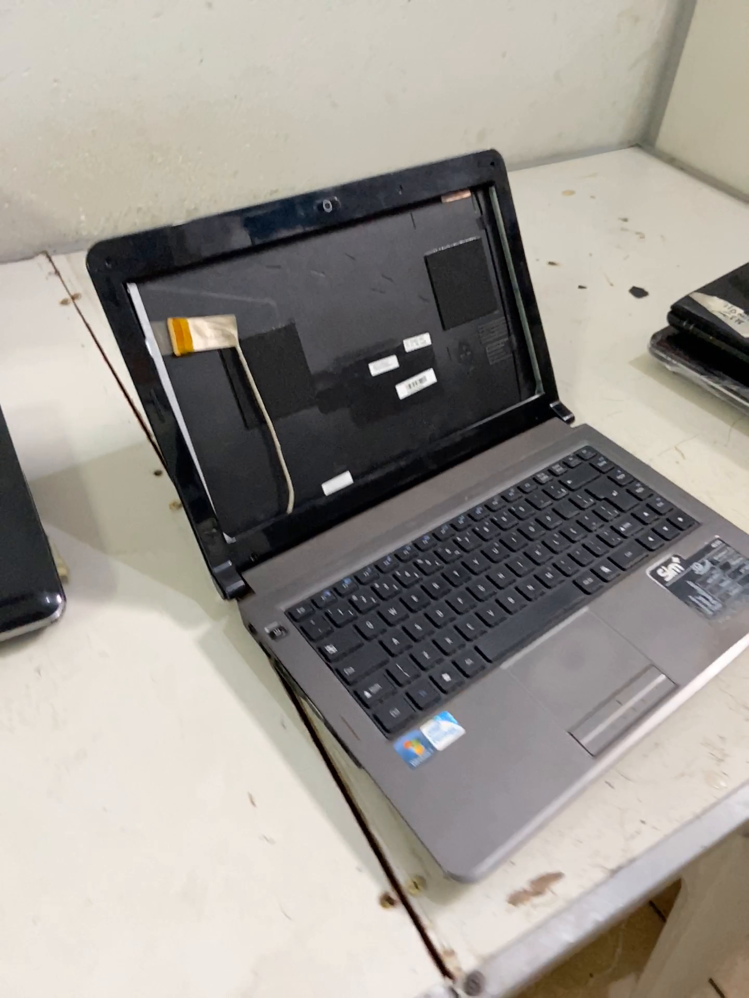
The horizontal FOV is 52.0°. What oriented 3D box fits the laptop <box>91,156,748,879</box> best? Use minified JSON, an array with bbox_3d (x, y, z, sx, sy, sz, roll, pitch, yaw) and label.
[{"bbox_3d":[0.070,-0.046,0.506,0.344,0.174,0.365,-26,51,-29],"label":"laptop"}]
